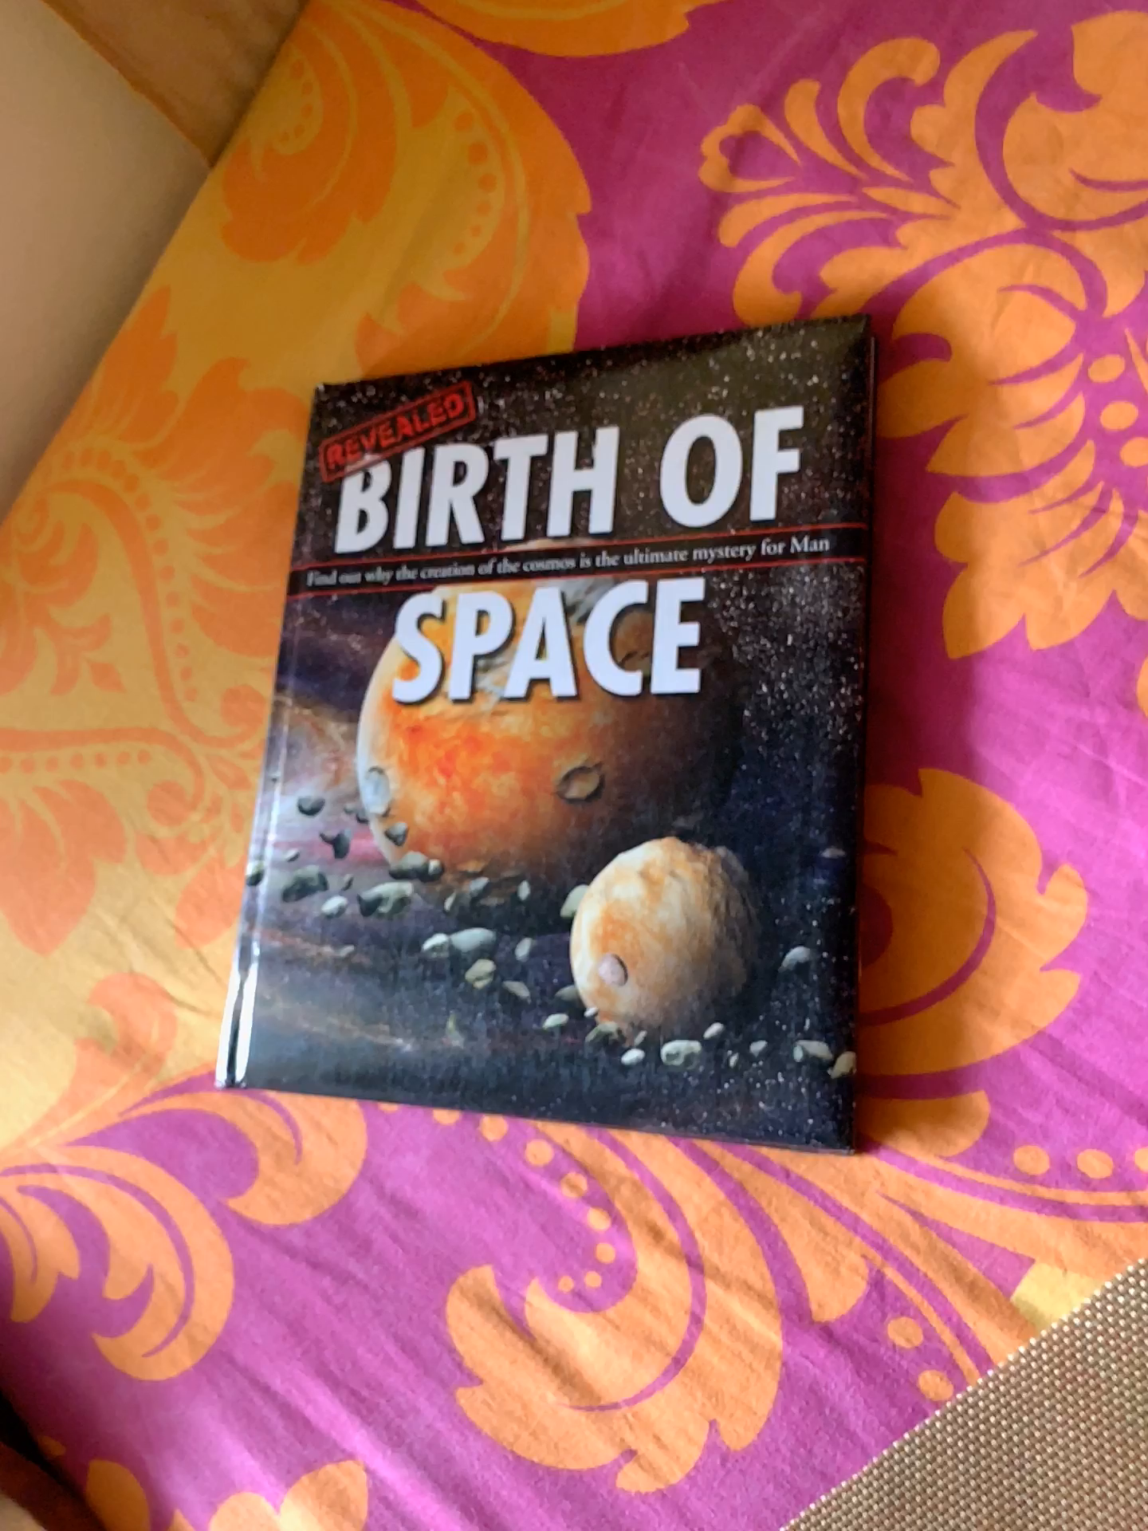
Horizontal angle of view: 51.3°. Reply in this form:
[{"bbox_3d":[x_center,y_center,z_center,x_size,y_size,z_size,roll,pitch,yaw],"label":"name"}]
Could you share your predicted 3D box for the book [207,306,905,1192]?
[{"bbox_3d":[-0.006,-0.013,0.383,0.211,0.020,0.258,0,77,20],"label":"book"}]
